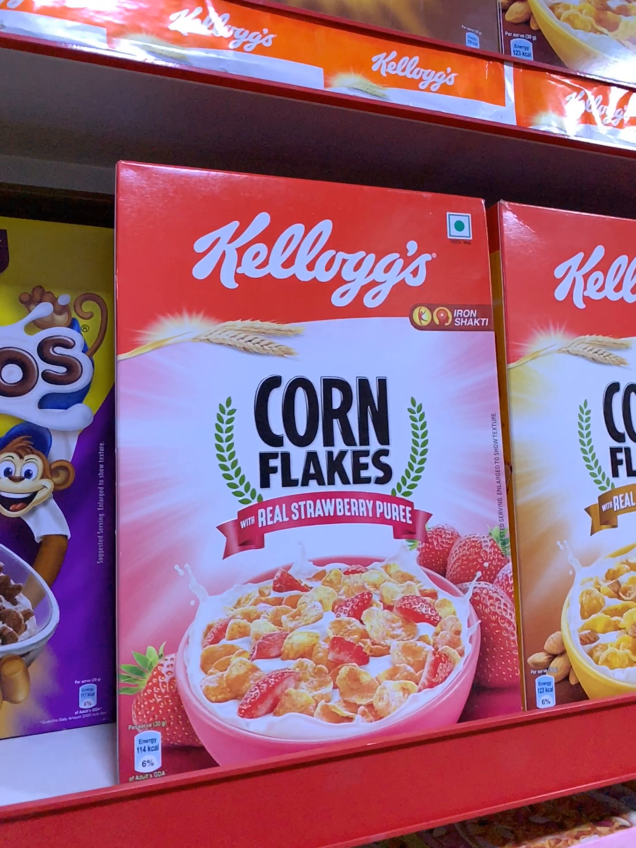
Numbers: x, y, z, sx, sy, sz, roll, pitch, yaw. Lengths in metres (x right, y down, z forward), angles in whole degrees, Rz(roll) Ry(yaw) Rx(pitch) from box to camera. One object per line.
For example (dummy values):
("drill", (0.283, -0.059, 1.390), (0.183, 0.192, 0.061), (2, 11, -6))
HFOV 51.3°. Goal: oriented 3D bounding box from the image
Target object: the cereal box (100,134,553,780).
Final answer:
("cereal box", (0.001, 0.009, 0.304), (0.190, 0.241, 0.060), (0, -7, -18))
